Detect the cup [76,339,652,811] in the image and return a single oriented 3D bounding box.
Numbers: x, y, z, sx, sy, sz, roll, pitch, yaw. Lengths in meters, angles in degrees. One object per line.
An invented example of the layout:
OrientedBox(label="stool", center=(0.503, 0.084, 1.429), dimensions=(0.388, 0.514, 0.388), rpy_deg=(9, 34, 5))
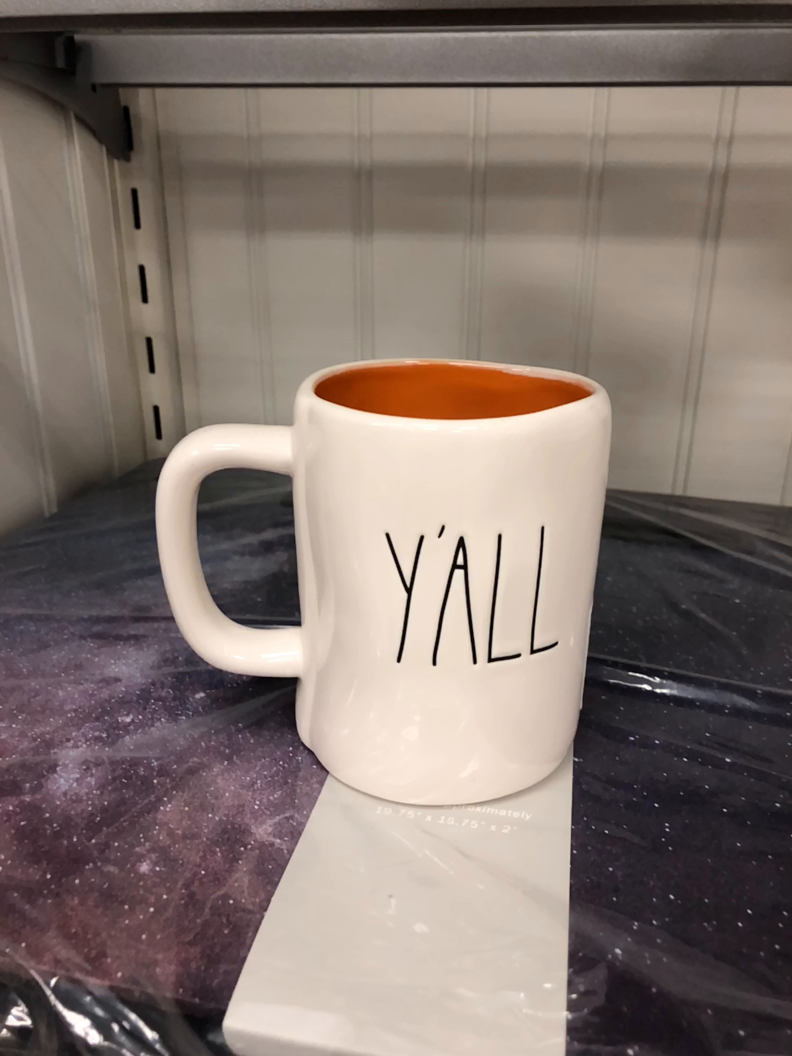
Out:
OrientedBox(label="cup", center=(-0.007, 0.009, 0.278), dimensions=(0.140, 0.119, 0.091), rpy_deg=(1, 22, 1))
